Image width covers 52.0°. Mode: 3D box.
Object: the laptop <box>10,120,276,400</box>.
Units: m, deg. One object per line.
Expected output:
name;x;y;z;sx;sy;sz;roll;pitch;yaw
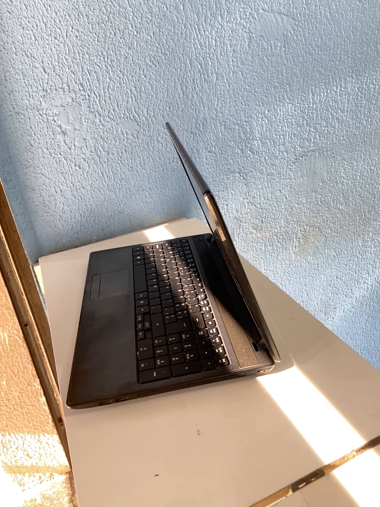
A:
laptop;-0.057;-0.035;0.588;0.253;0.234;0.376;-9;28;-5
